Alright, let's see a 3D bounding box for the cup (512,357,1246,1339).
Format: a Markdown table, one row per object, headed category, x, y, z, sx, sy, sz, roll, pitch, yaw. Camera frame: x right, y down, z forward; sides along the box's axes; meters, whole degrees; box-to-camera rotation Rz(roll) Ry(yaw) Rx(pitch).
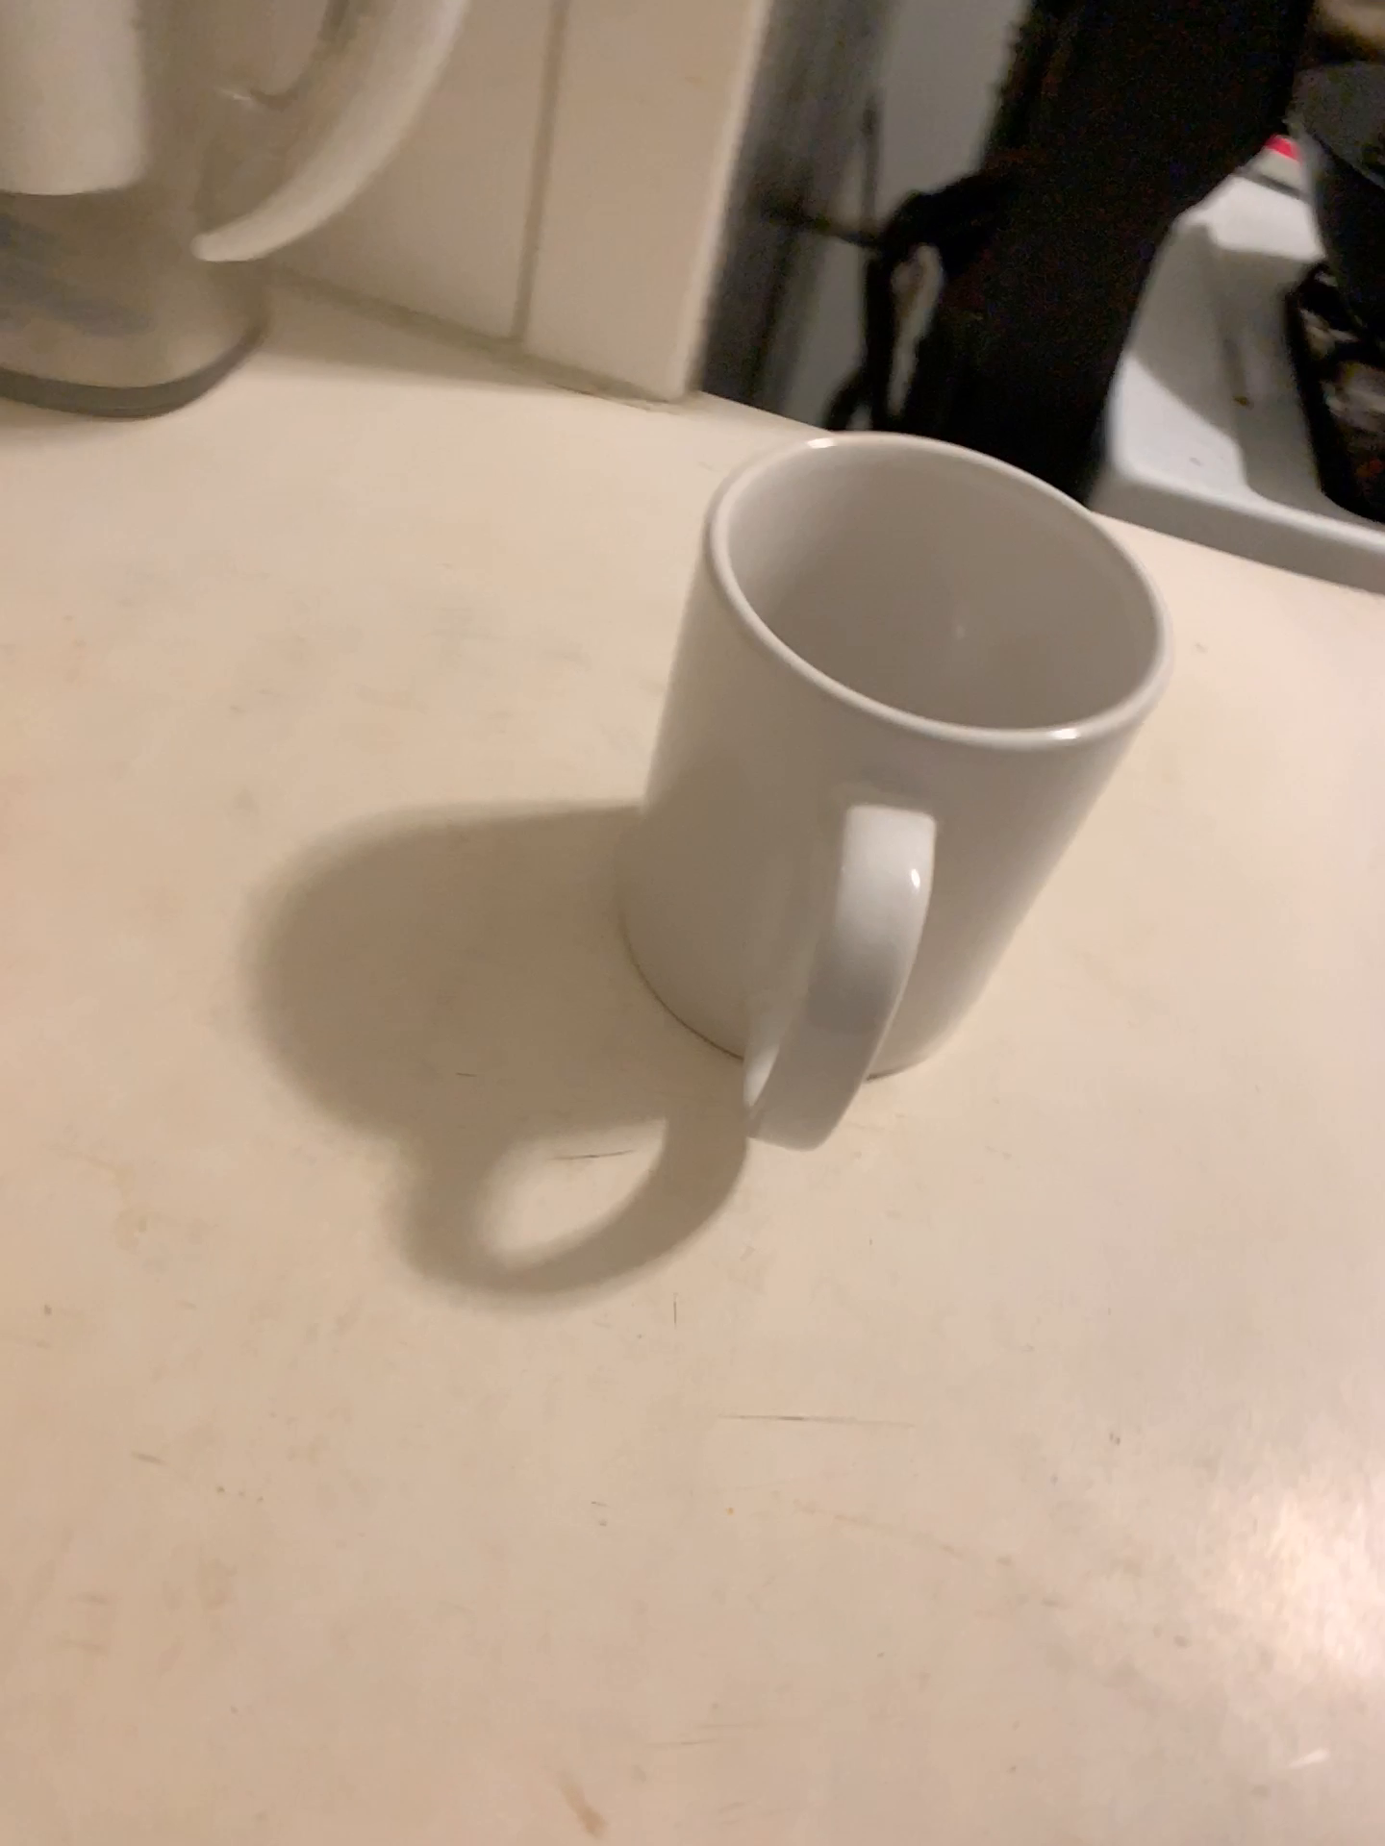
| category | x | y | z | sx | sy | sz | roll | pitch | yaw |
| --- | --- | --- | --- | --- | --- | --- | --- | --- | --- |
| cup | 0.027 | -0.015 | 0.279 | 0.090 | 0.109 | 0.141 | 12 | 48 | -5 |
